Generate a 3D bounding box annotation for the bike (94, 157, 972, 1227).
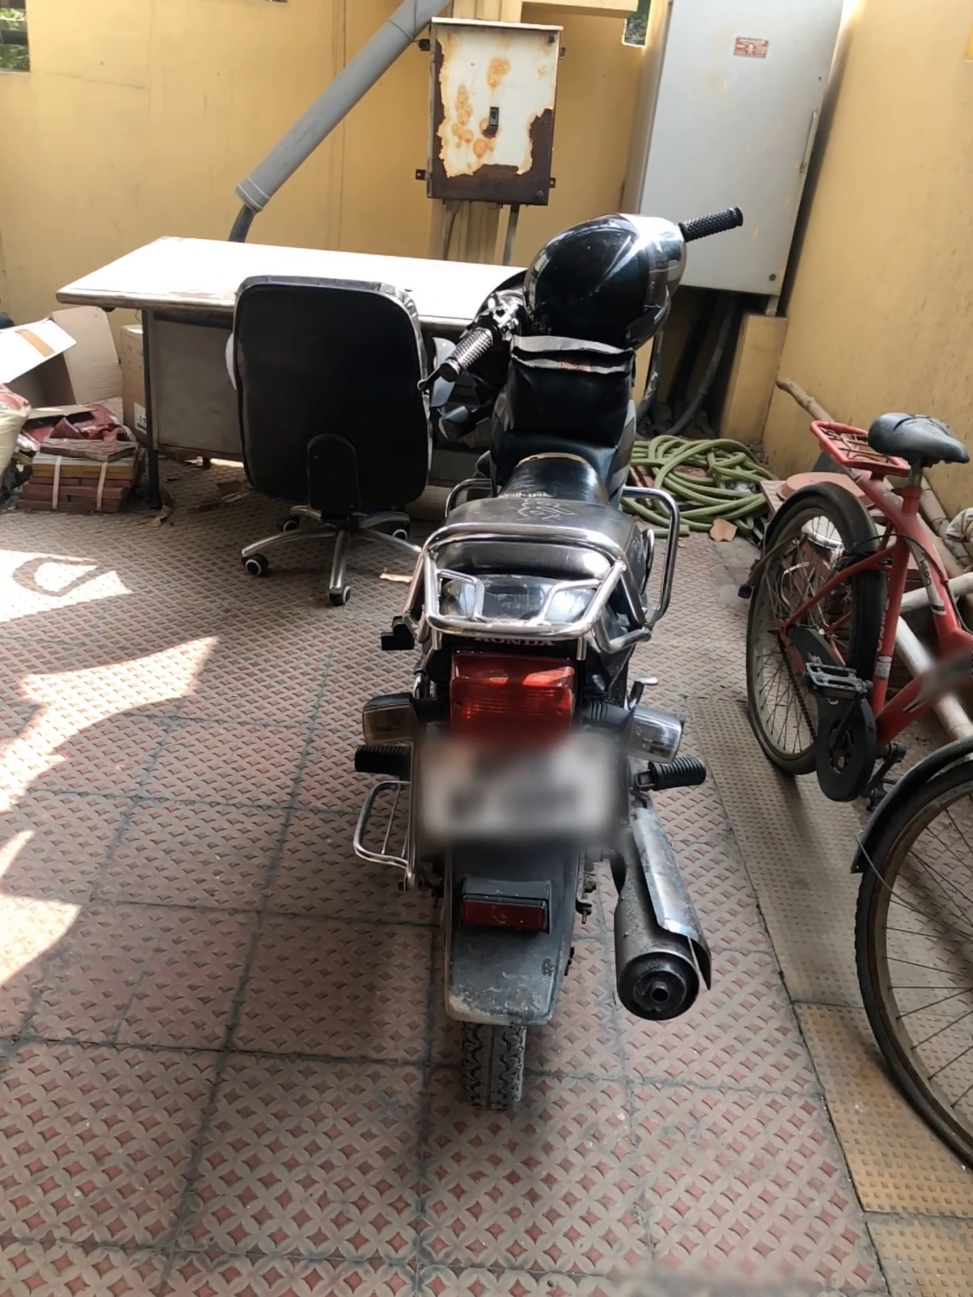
[{"bbox_3d":[-0.051,-0.178,1.783,0.713,1.027,1.624,5,27,-4],"label":"bike"}]
